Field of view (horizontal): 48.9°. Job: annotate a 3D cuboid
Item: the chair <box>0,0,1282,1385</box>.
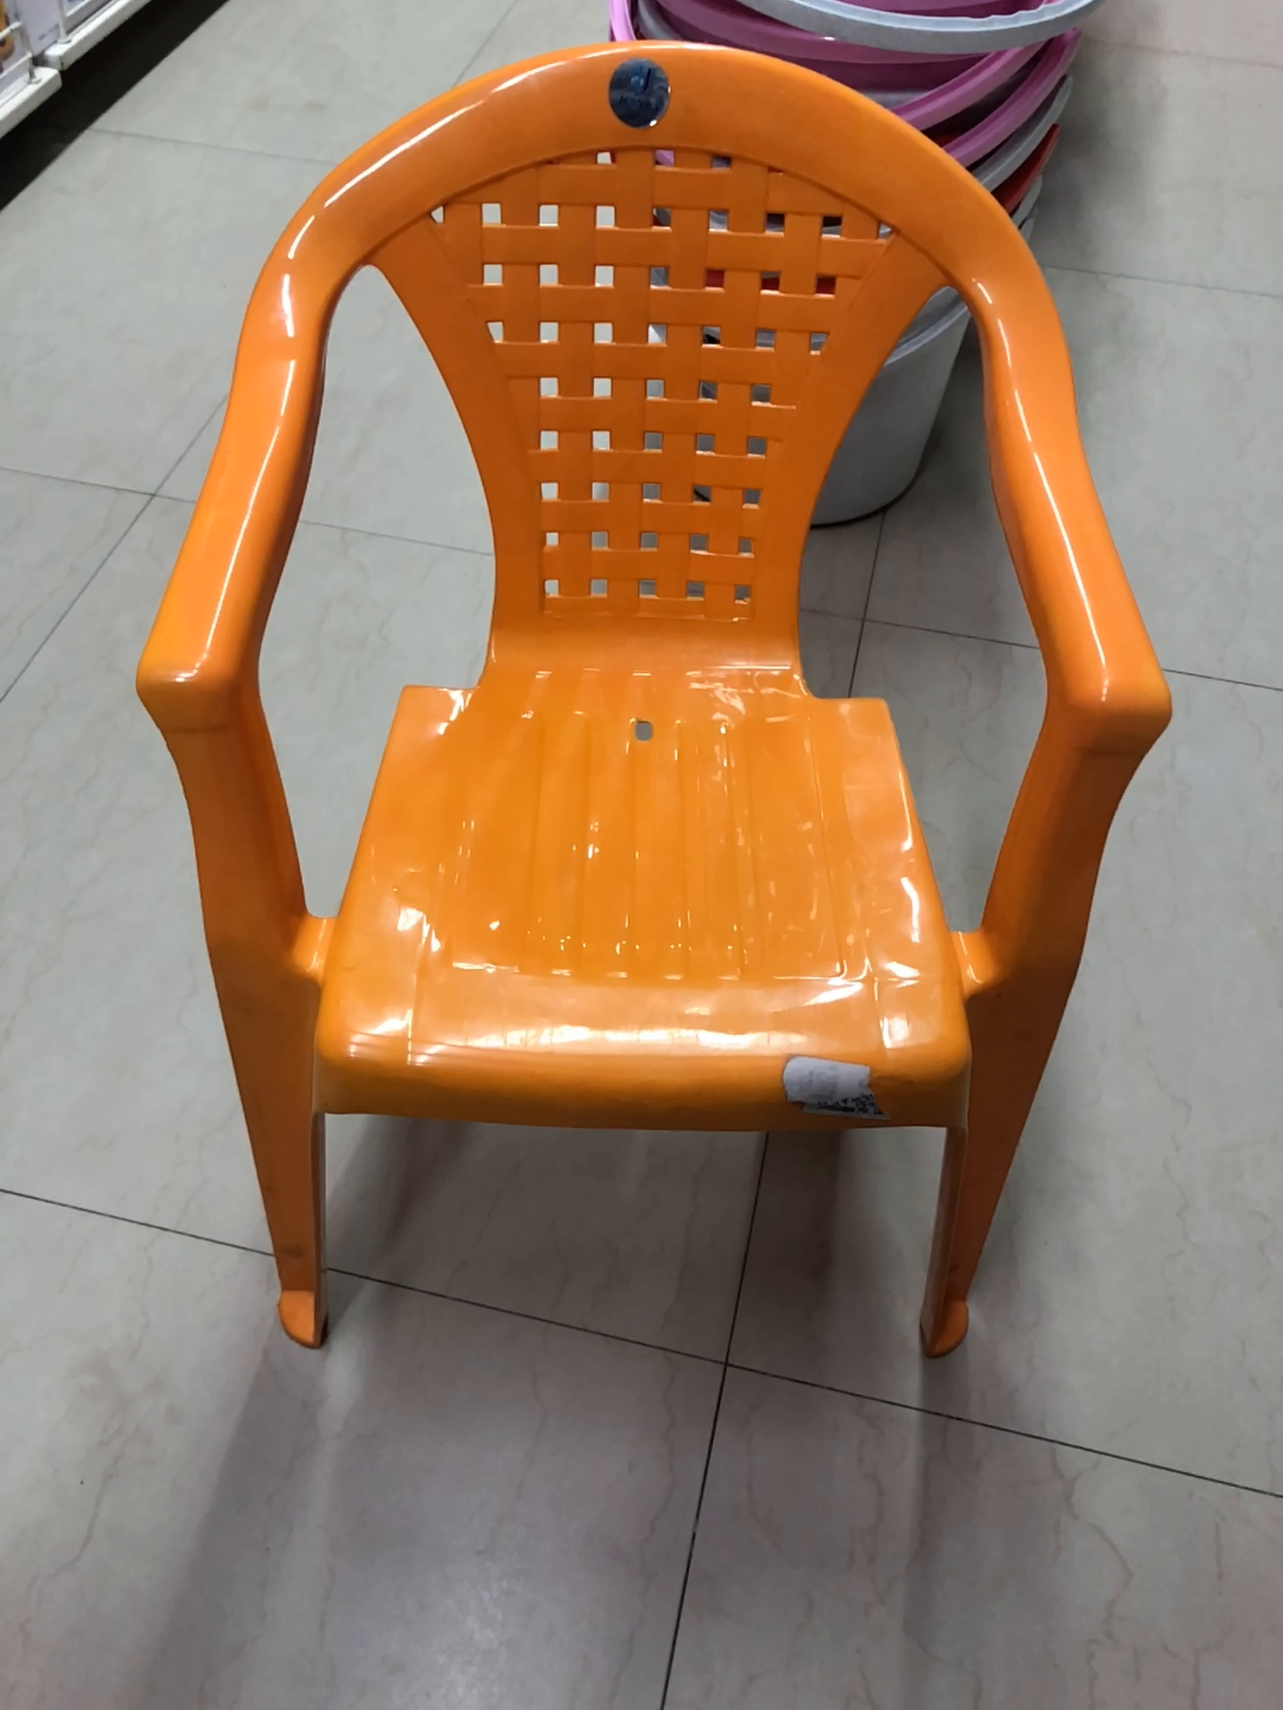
[{"bbox_3d":[0.000,-0.049,0.645,0.390,0.467,0.402,2,50,0],"label":"chair"}]
